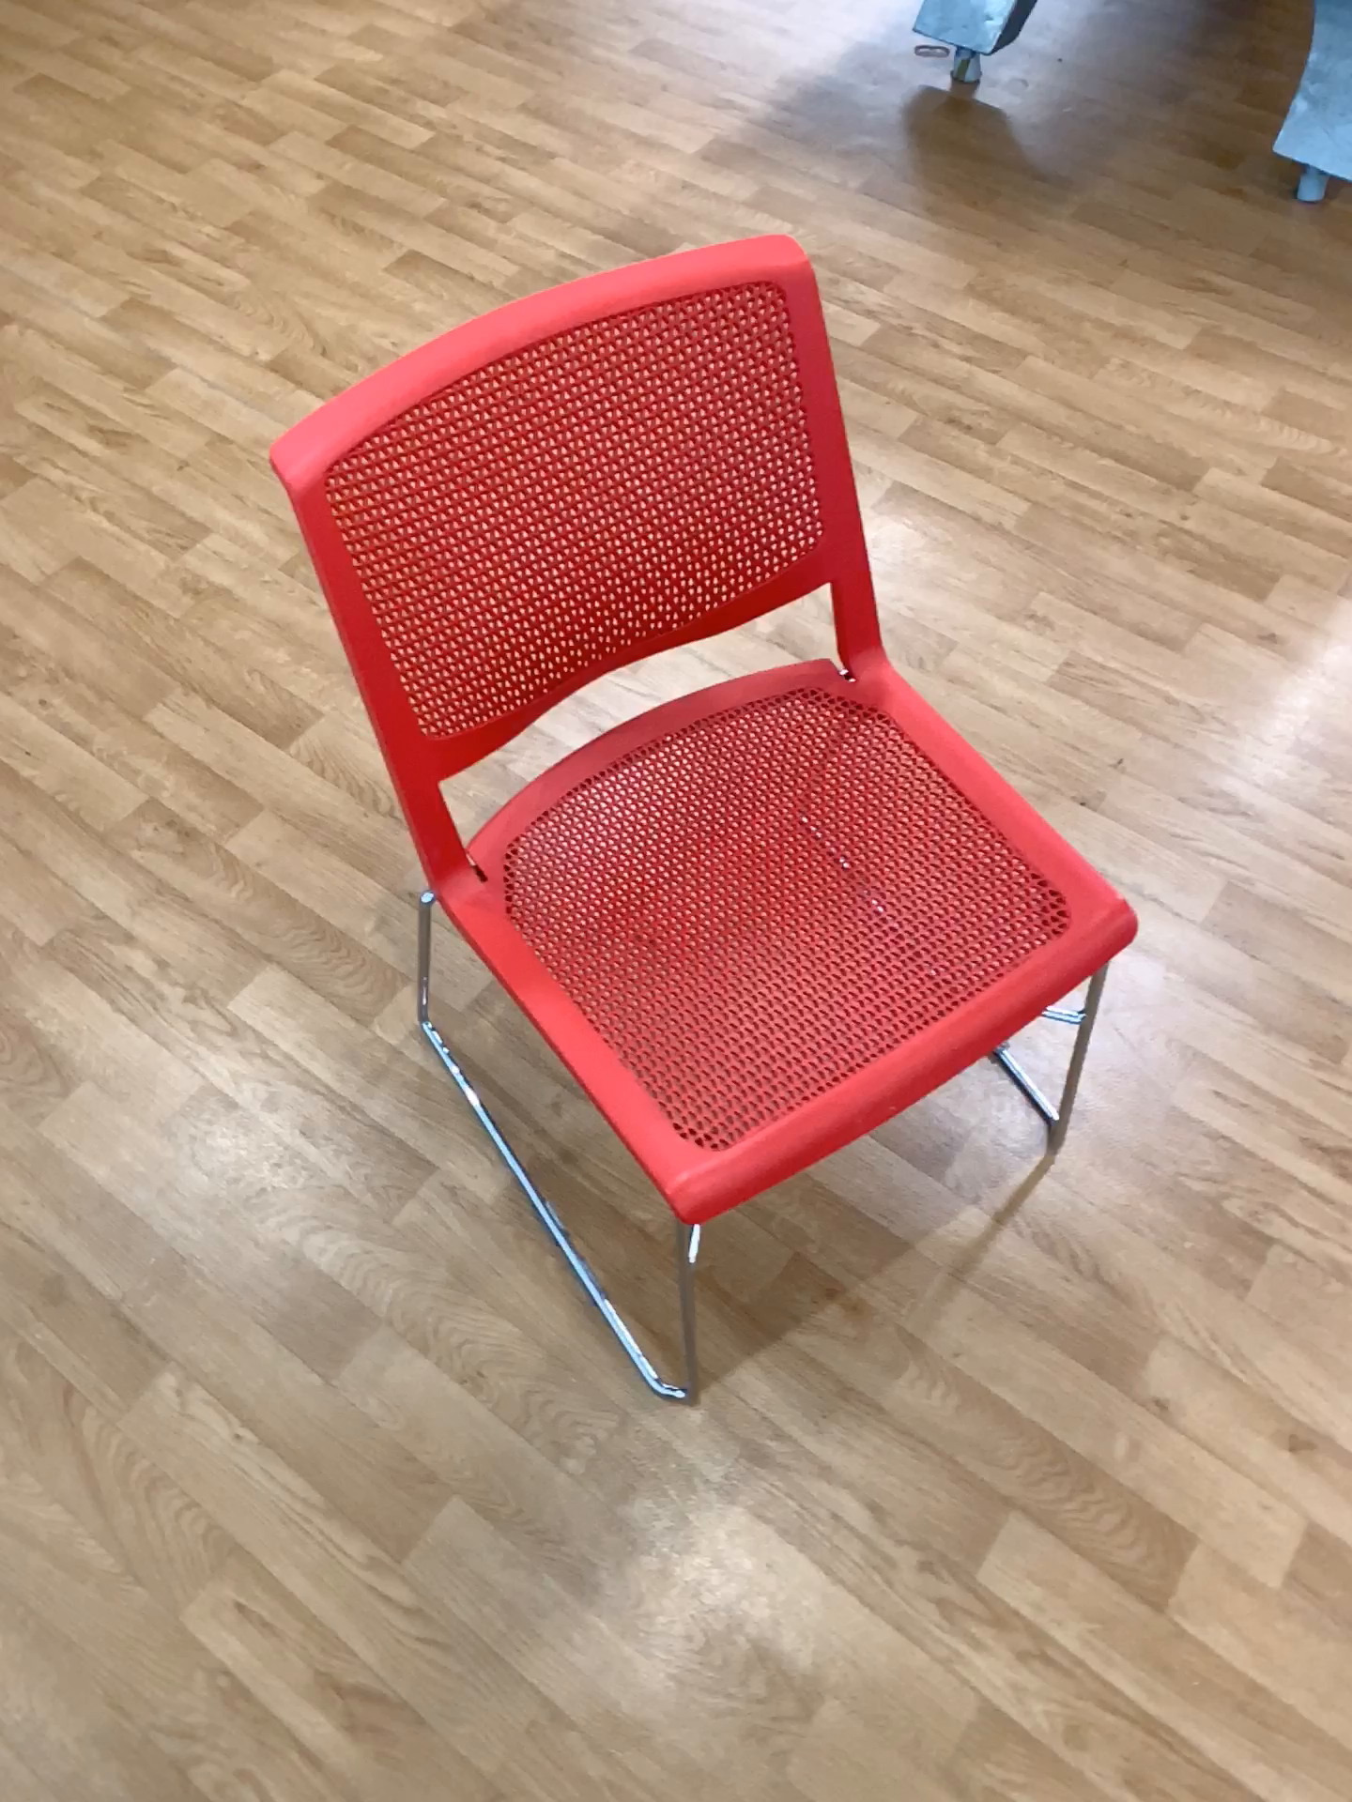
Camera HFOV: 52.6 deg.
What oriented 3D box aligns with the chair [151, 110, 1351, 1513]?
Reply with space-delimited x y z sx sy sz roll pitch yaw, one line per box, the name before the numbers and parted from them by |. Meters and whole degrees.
chair | 0.107 -0.036 1.062 0.601 0.706 0.593 -30 61 -18
